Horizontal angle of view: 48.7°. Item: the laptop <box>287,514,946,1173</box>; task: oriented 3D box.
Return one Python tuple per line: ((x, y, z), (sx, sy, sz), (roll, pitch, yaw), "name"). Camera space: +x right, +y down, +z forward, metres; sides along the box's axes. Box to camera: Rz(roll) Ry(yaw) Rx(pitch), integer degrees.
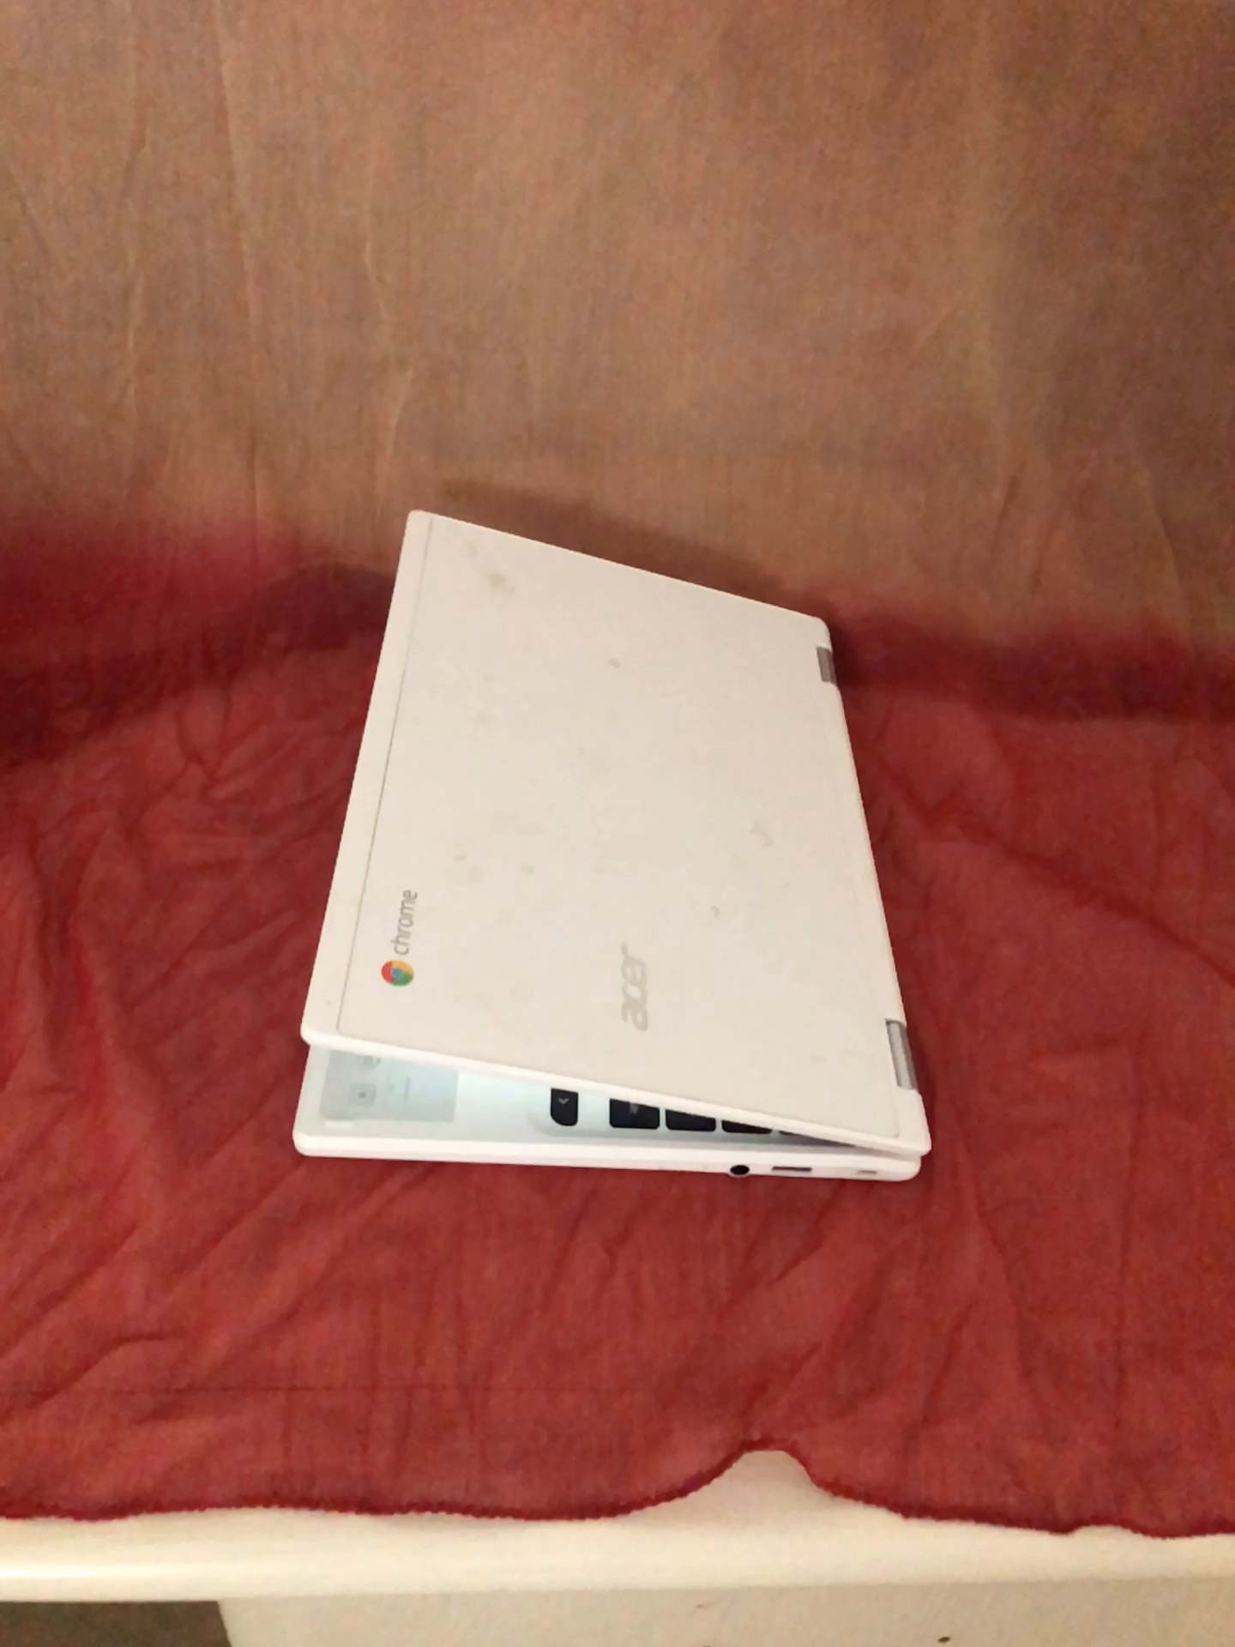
((0.001, -0.013, 0.517), (0.189, 0.055, 0.290), (4, 42, -2), "laptop")
